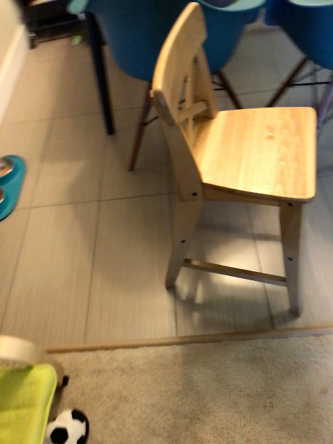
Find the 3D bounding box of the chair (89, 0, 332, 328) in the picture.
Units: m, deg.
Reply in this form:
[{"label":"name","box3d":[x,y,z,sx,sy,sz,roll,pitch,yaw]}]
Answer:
[{"label":"chair","box3d":[0.201,-0.109,0.942,0.489,0.686,0.443,6,53,14]}]
